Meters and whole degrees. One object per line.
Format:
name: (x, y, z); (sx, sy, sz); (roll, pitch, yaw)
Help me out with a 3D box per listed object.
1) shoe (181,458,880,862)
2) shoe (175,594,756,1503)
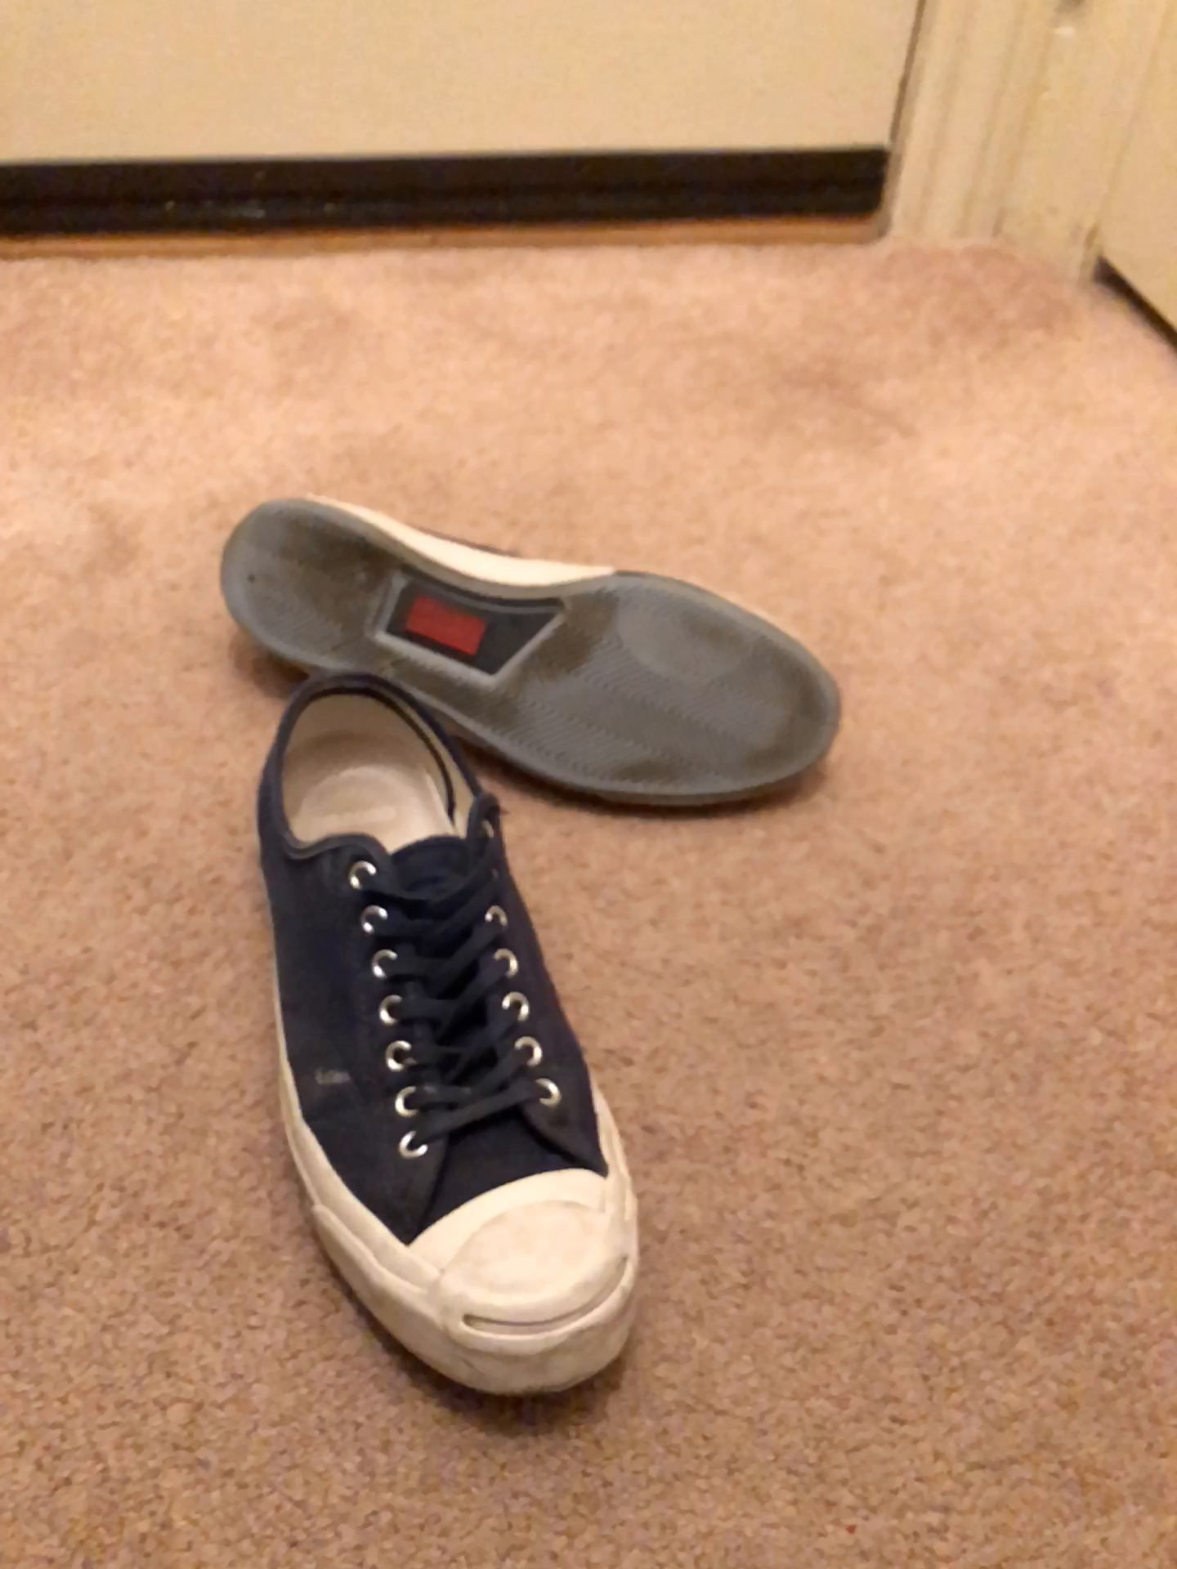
shoe: (-0.025, -0.066, 0.612); (0.296, 0.104, 0.099); (15, 18, 9)
shoe: (-0.060, 0.067, 0.460); (0.116, 0.098, 0.287); (-12, 48, -16)
